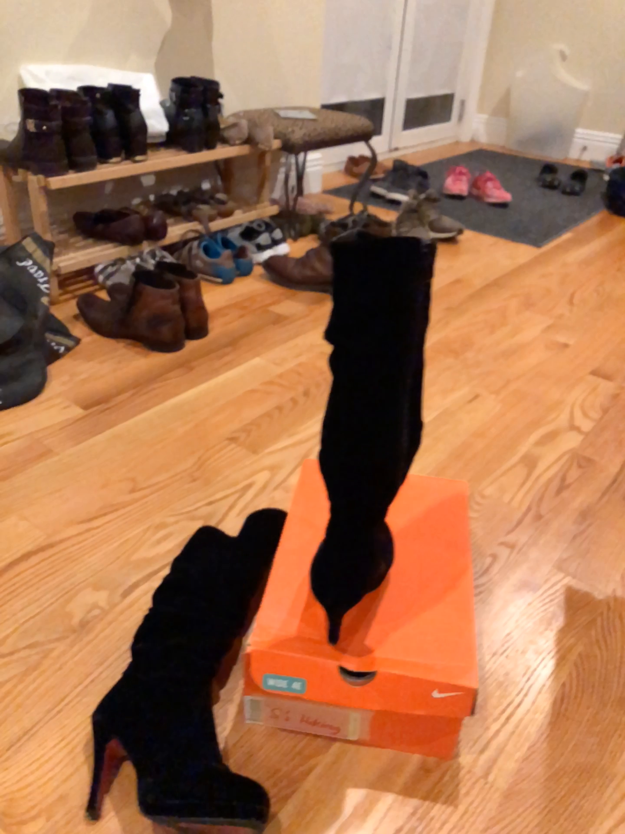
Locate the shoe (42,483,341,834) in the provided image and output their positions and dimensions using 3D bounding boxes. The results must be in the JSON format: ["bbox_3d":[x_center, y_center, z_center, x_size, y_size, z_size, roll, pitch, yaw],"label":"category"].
[{"bbox_3d":[-0.095,0.237,0.753,0.206,0.089,0.401,6,31,6],"label":"shoe"}]

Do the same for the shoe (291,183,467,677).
[{"bbox_3d":[0.060,0.014,0.645,0.089,0.397,0.217,10,32,9],"label":"shoe"}]
